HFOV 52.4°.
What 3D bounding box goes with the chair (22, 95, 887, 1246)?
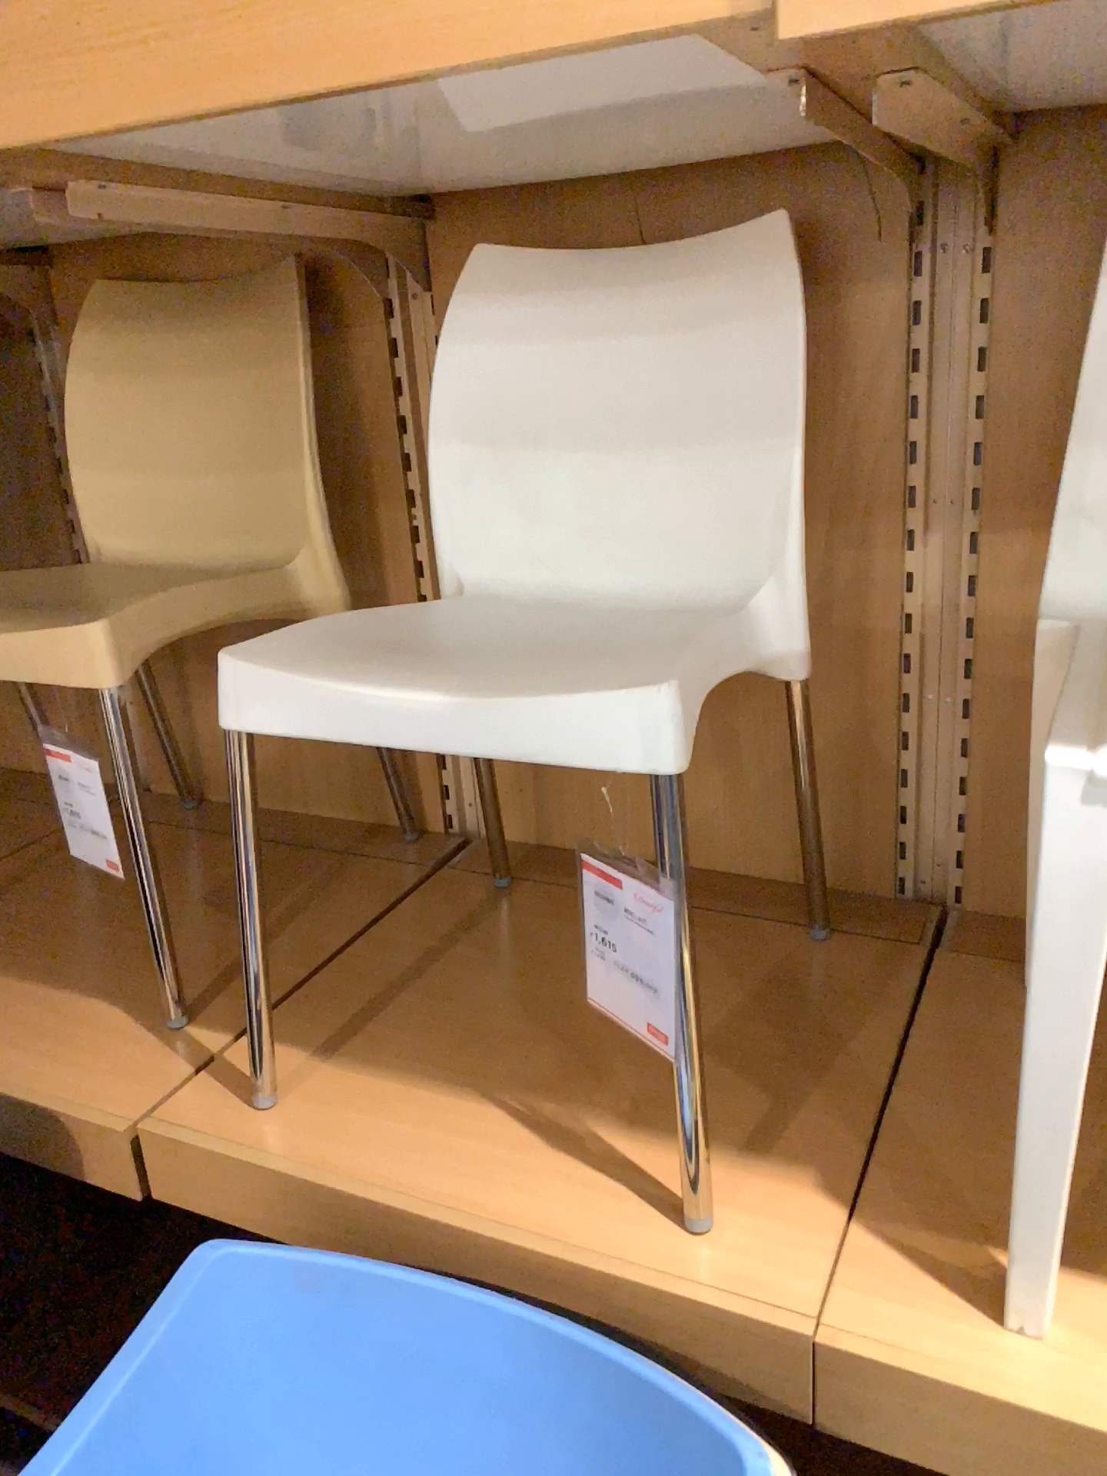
[{"bbox_3d":[-0.005,-0.114,1.277,0.611,0.917,0.682,5,22,24],"label":"chair"}]
